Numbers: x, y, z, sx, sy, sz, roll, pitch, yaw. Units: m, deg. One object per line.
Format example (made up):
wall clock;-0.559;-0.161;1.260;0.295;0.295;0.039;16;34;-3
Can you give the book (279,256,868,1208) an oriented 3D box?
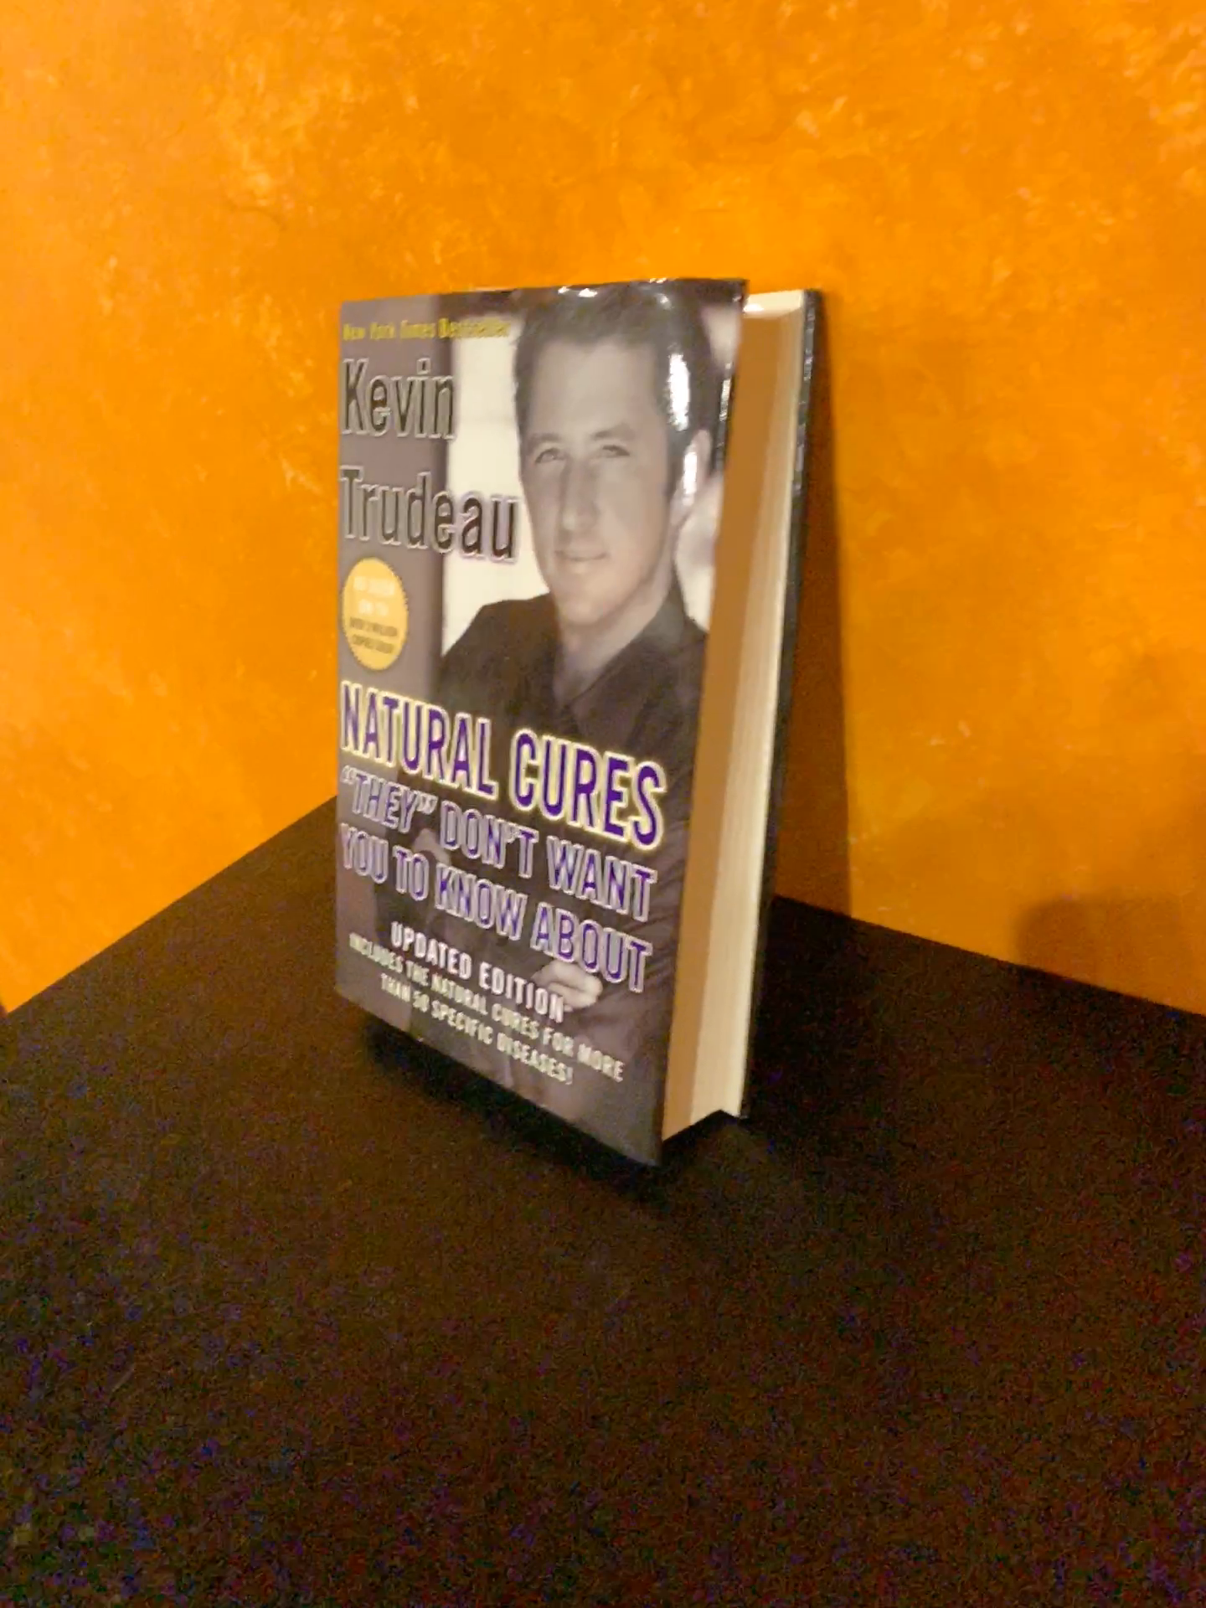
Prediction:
book;-0.025;-0.030;0.373;0.181;0.229;0.050;17;19;42
